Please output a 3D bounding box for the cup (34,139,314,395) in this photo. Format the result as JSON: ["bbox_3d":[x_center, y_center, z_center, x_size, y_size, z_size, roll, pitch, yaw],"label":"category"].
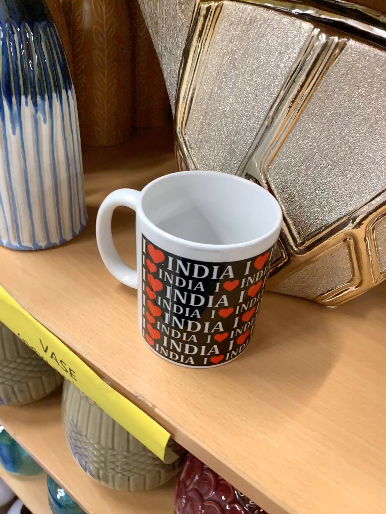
[{"bbox_3d":[-0.009,-0.002,0.250,0.130,0.090,0.090,19,38,16],"label":"cup"}]
